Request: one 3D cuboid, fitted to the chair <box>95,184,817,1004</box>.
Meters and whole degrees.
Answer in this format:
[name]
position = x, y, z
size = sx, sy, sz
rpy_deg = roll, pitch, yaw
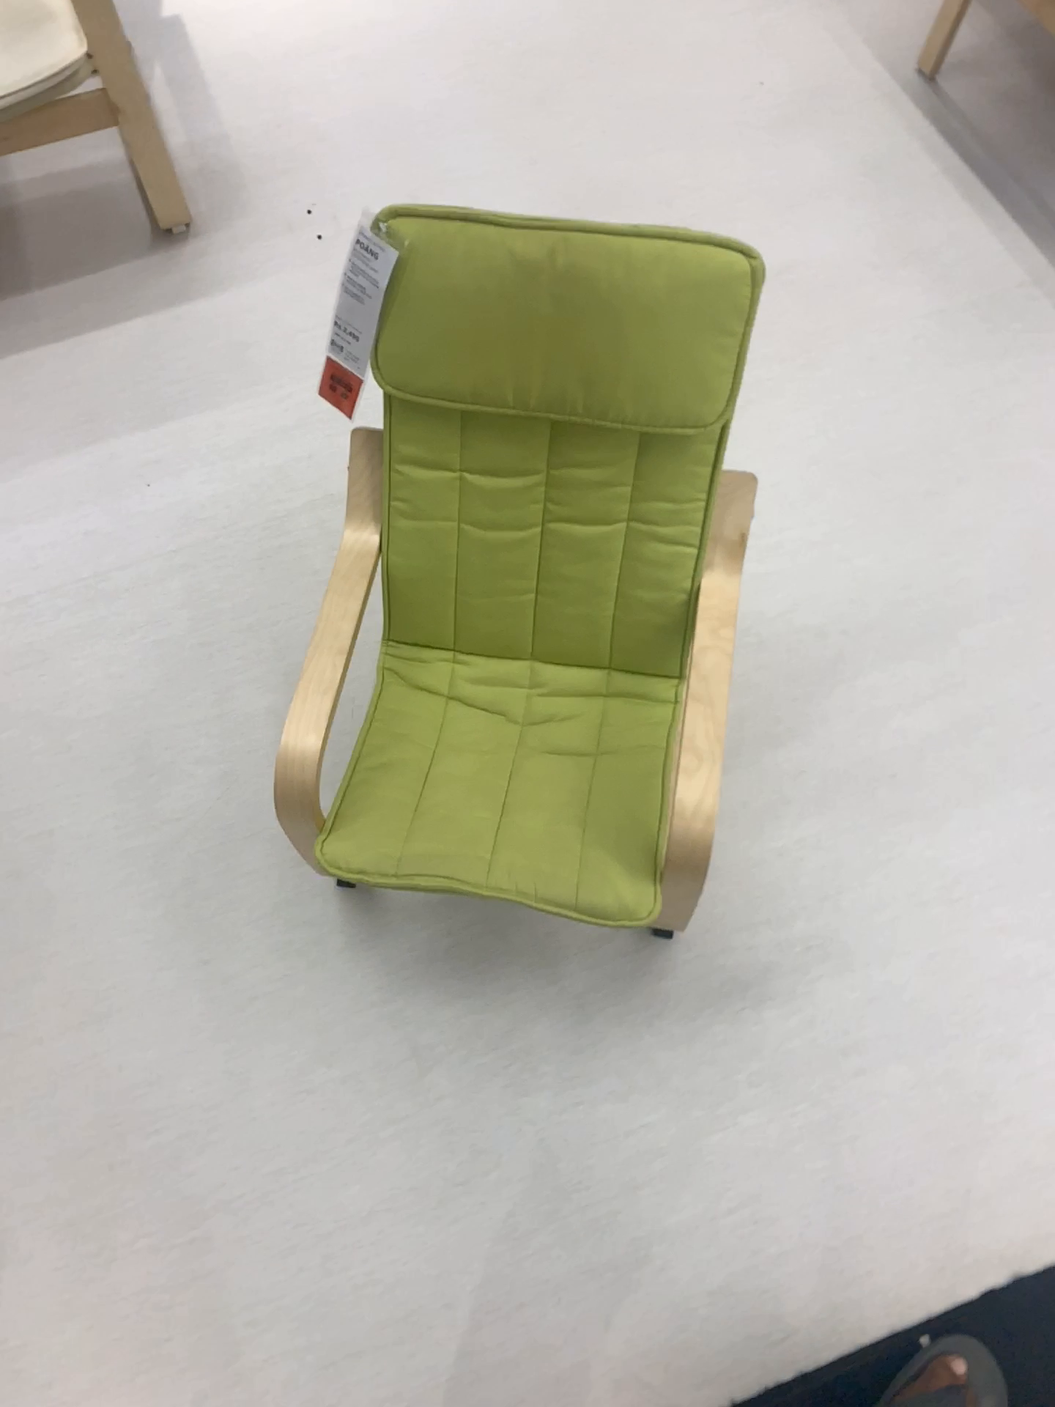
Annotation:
[chair]
position = -0.016, -0.044, 1.265
size = 0.520, 0.819, 0.571
rpy_deg = 7, 64, 5
